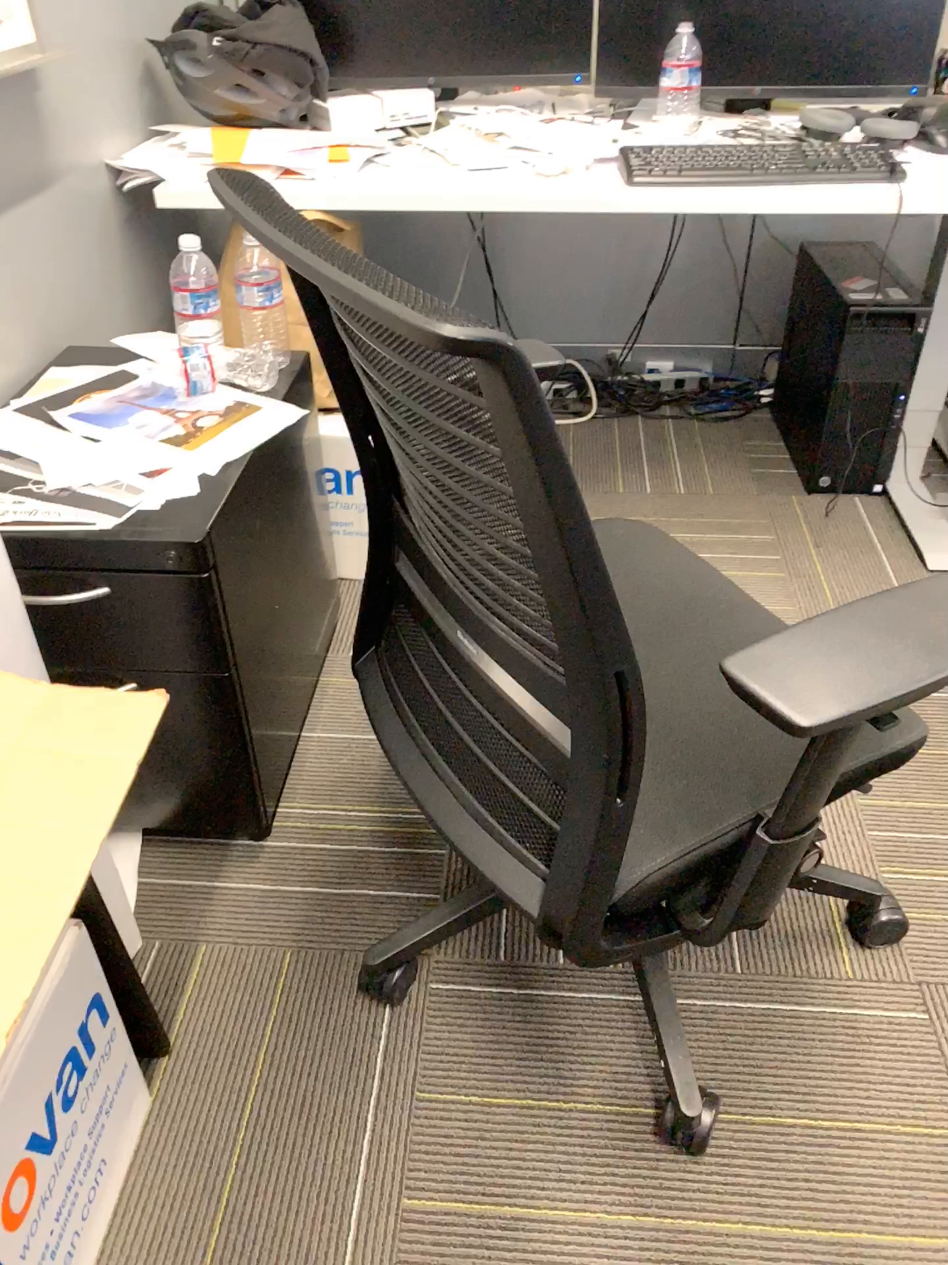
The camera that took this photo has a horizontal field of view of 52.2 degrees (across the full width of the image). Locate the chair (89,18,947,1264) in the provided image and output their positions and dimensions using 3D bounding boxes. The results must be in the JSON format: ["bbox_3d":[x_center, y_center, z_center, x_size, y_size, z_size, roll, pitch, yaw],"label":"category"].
[{"bbox_3d":[0.159,-0.039,0.991,0.681,0.915,0.663,-23,42,-26],"label":"chair"}]
